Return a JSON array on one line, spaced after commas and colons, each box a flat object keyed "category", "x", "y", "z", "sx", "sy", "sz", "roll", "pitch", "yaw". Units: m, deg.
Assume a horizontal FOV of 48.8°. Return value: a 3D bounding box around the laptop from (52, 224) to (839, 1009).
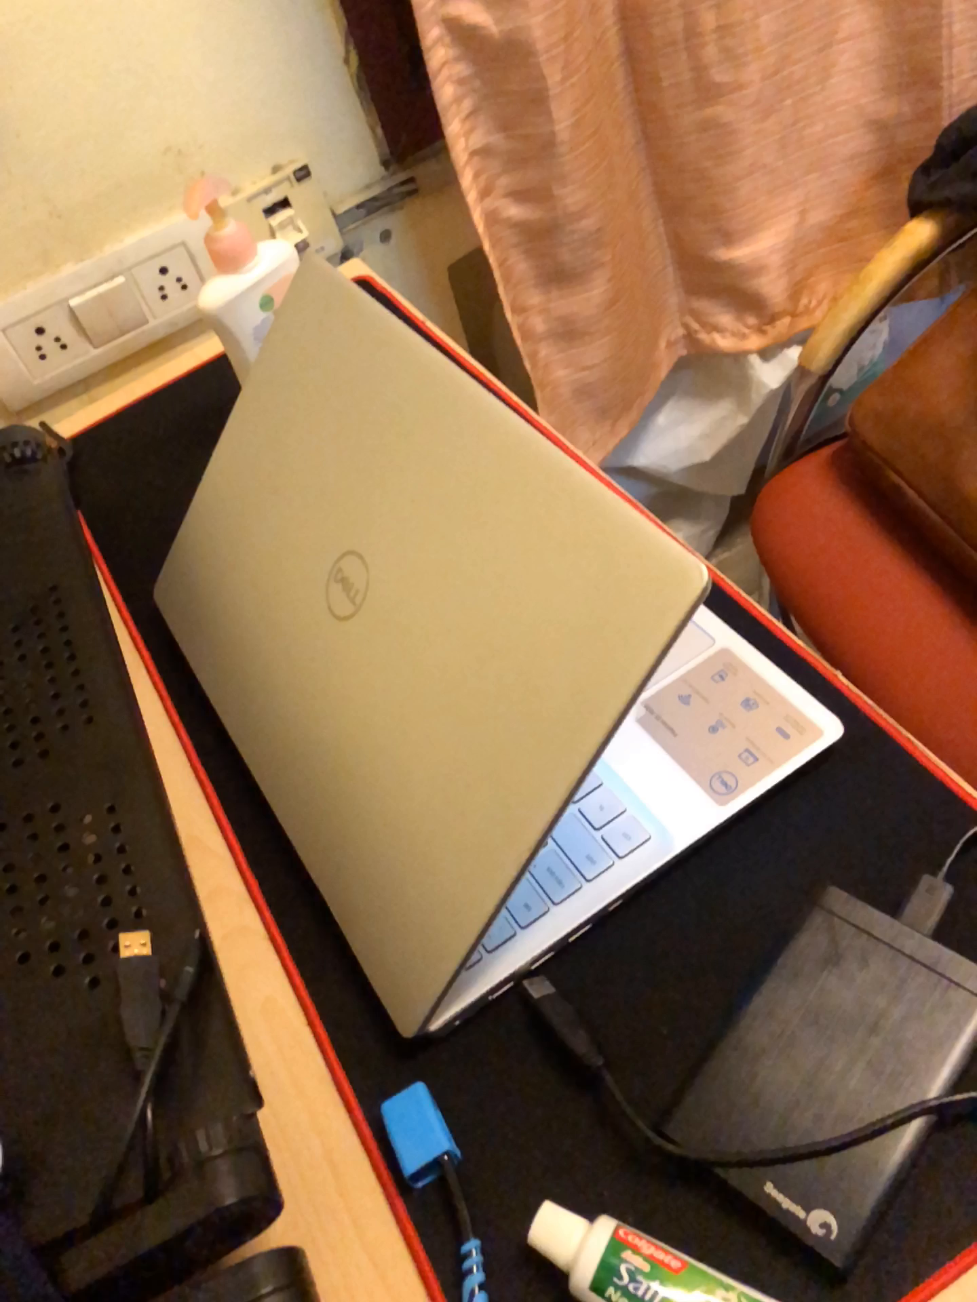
[{"category": "laptop", "x": -0.035, "y": -0.049, "z": 0.541, "sx": 0.218, "sy": 0.140, "sz": 0.352, "roll": -32, "pitch": 49, "yaw": -12}]
